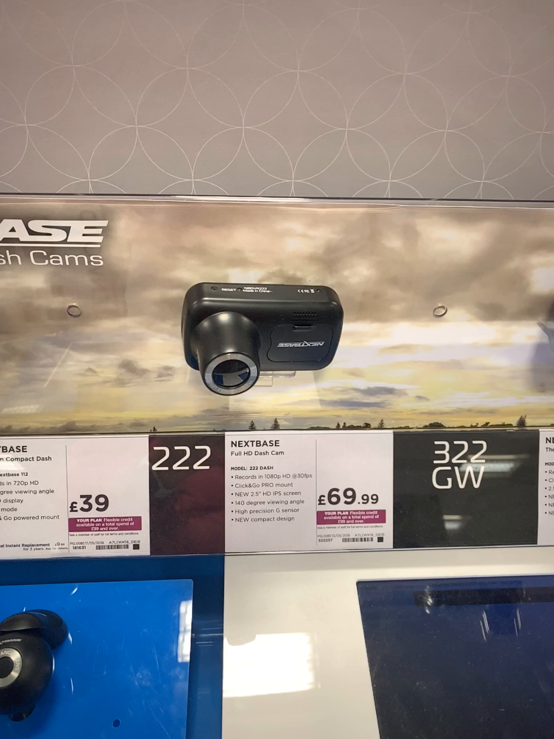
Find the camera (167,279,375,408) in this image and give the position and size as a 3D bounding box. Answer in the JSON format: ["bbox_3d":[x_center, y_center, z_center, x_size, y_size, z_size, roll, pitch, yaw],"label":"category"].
[{"bbox_3d":[-0.005,-0.013,0.279,0.090,0.040,0.050,1,38,-6],"label":"camera"}]
